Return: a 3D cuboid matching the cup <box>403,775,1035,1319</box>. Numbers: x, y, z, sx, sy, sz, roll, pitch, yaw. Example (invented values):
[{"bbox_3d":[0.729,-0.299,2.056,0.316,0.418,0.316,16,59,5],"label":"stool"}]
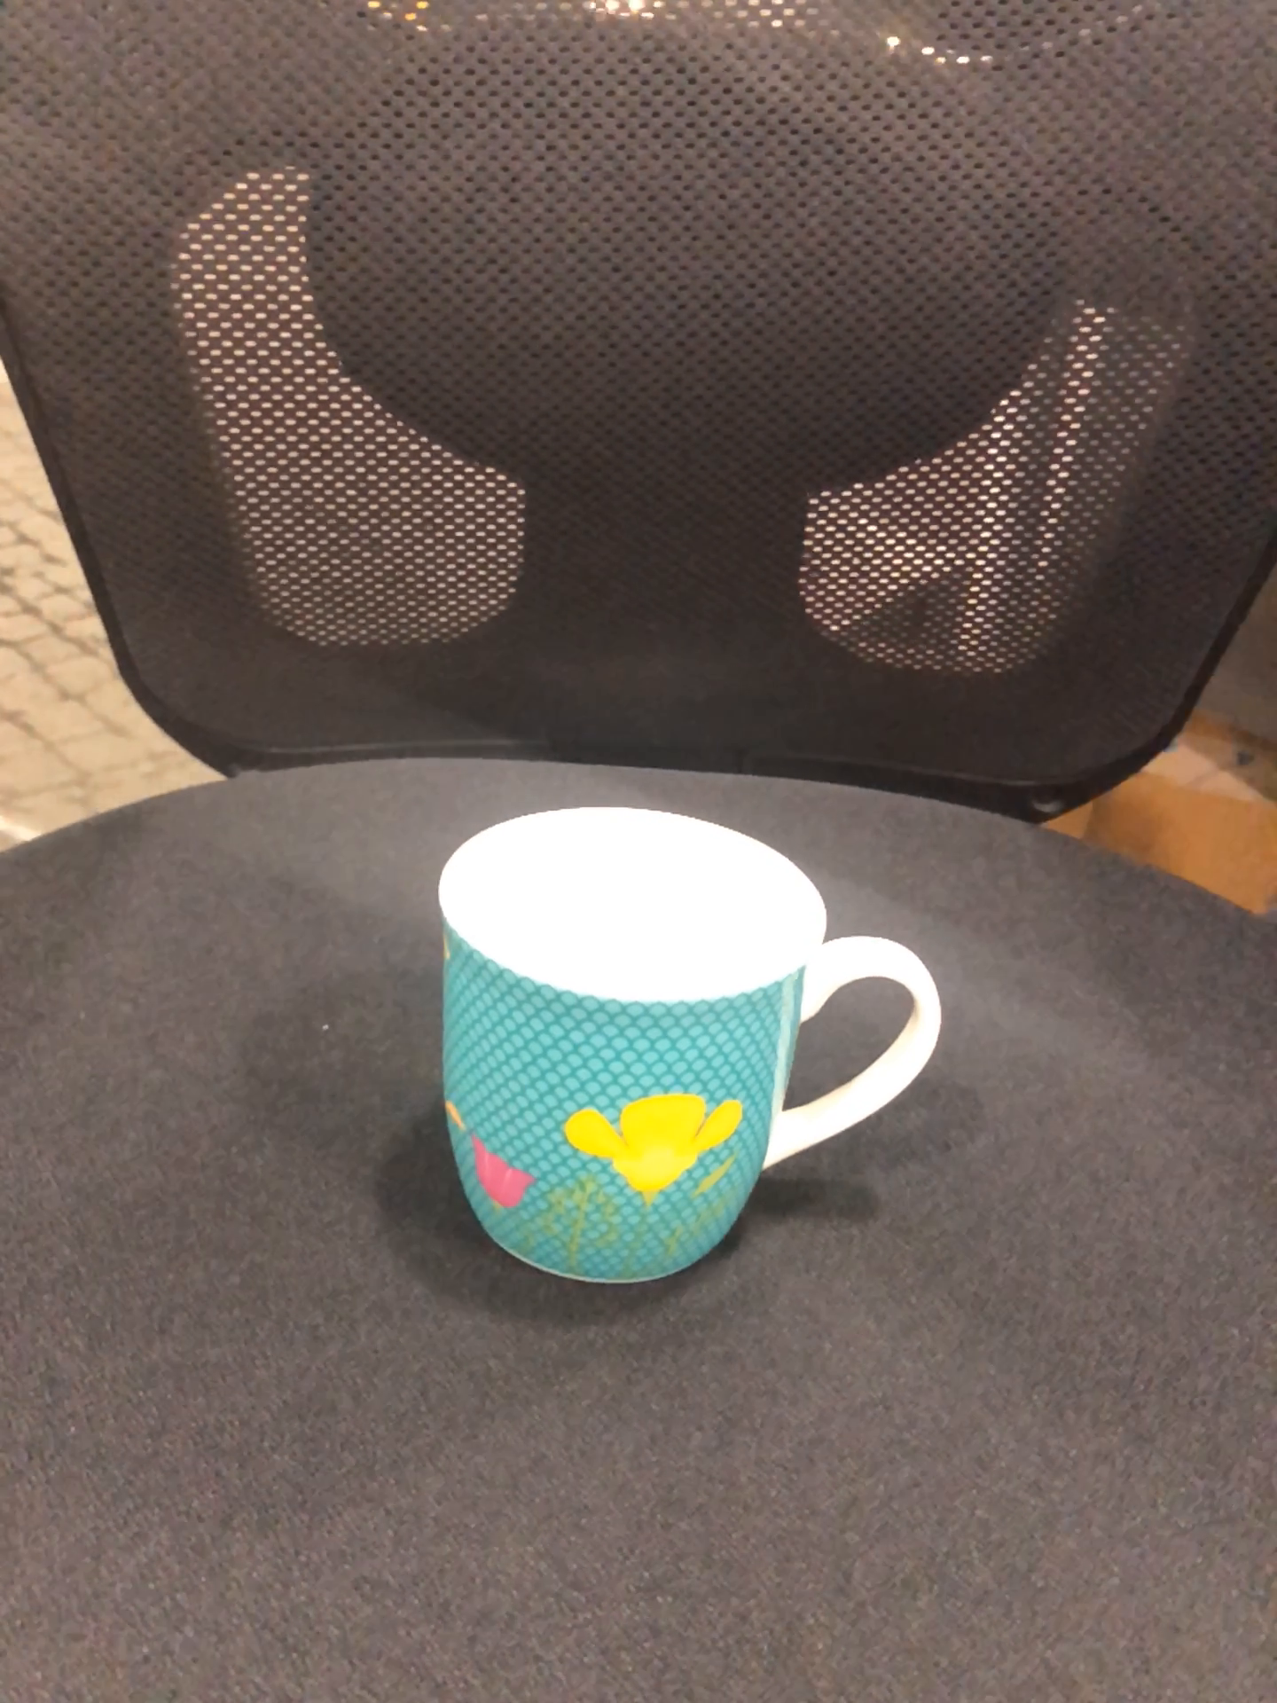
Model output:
[{"bbox_3d":[0.009,0.038,0.303,0.110,0.080,0.070,-3,33,-14],"label":"cup"}]
